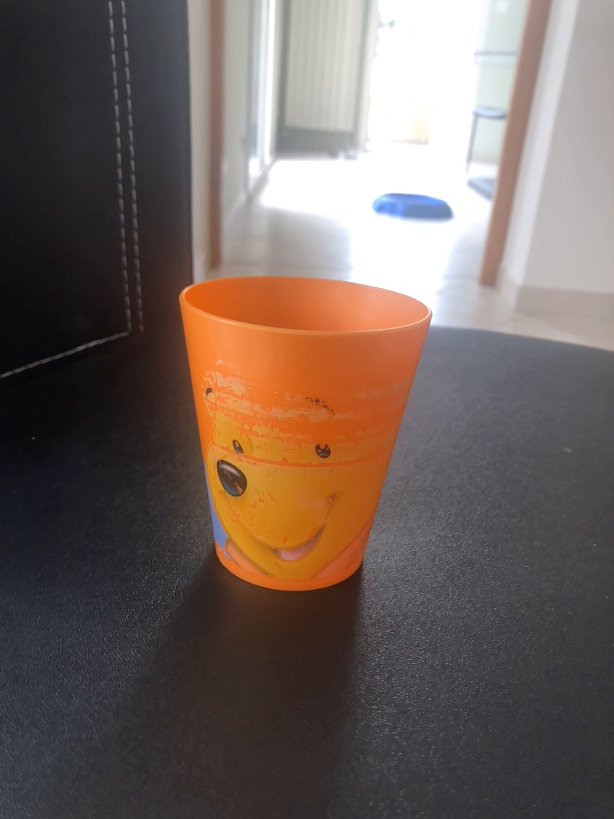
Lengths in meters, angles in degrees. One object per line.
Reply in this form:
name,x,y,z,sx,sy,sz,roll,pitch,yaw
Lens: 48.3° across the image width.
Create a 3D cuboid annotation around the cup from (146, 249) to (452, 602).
cup,-0.005,0.001,0.233,0.080,0.090,0.080,4,23,-2
